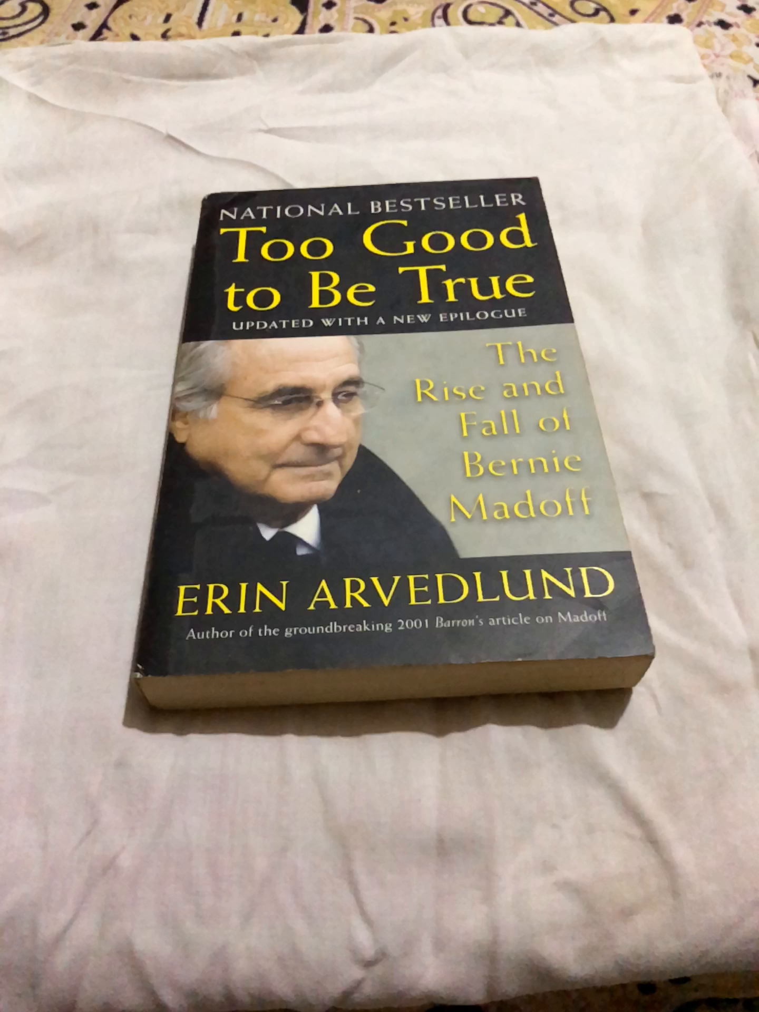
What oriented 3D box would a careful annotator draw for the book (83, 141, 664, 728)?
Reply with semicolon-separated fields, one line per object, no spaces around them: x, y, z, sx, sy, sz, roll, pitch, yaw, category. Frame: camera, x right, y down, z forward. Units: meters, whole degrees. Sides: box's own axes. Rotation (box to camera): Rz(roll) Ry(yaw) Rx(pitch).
-0.006;-0.043;0.298;0.150;0.030;0.231;-4;55;1;book
